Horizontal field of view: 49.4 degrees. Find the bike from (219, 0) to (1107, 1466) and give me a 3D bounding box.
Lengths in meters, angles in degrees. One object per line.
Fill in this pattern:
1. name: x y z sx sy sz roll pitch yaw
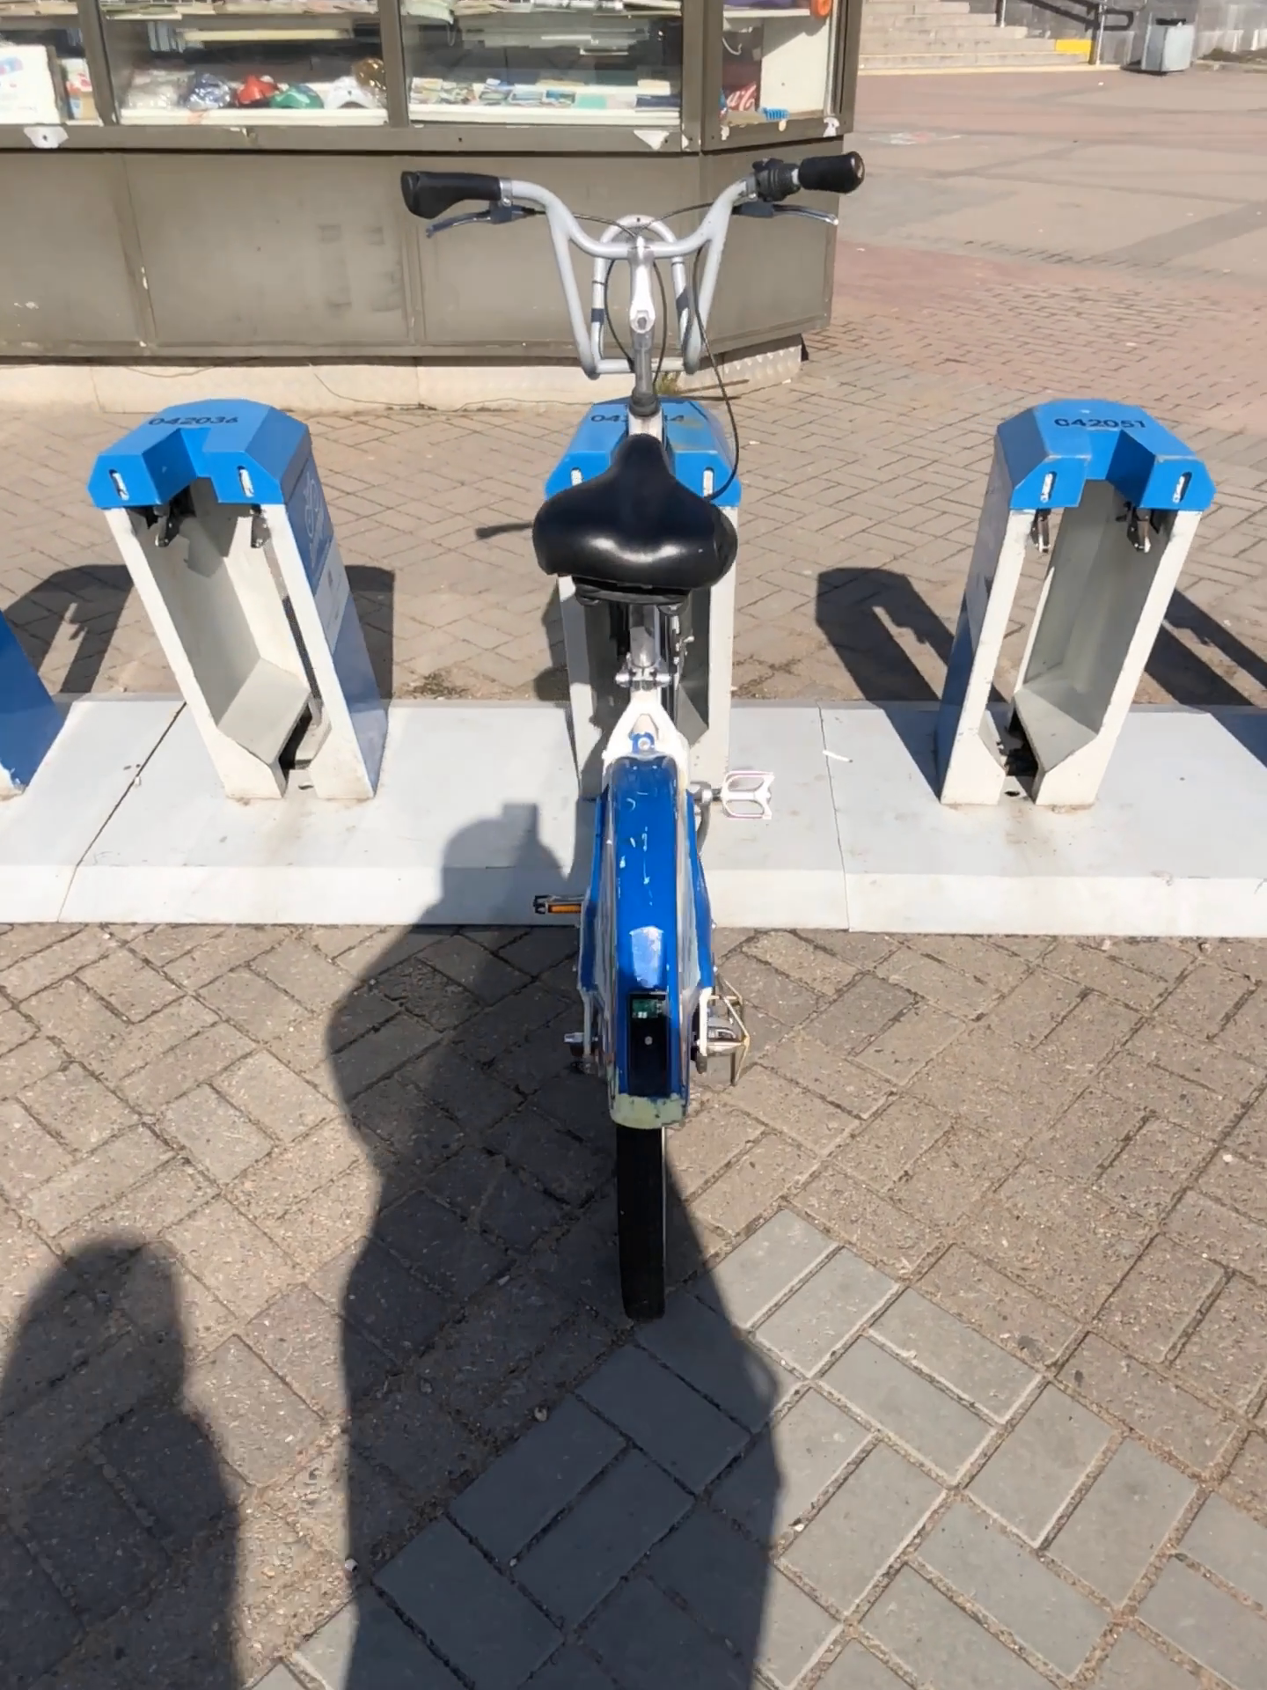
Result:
1. bike: 0.054 -0.337 1.876 0.595 1.203 1.637 0 36 2
